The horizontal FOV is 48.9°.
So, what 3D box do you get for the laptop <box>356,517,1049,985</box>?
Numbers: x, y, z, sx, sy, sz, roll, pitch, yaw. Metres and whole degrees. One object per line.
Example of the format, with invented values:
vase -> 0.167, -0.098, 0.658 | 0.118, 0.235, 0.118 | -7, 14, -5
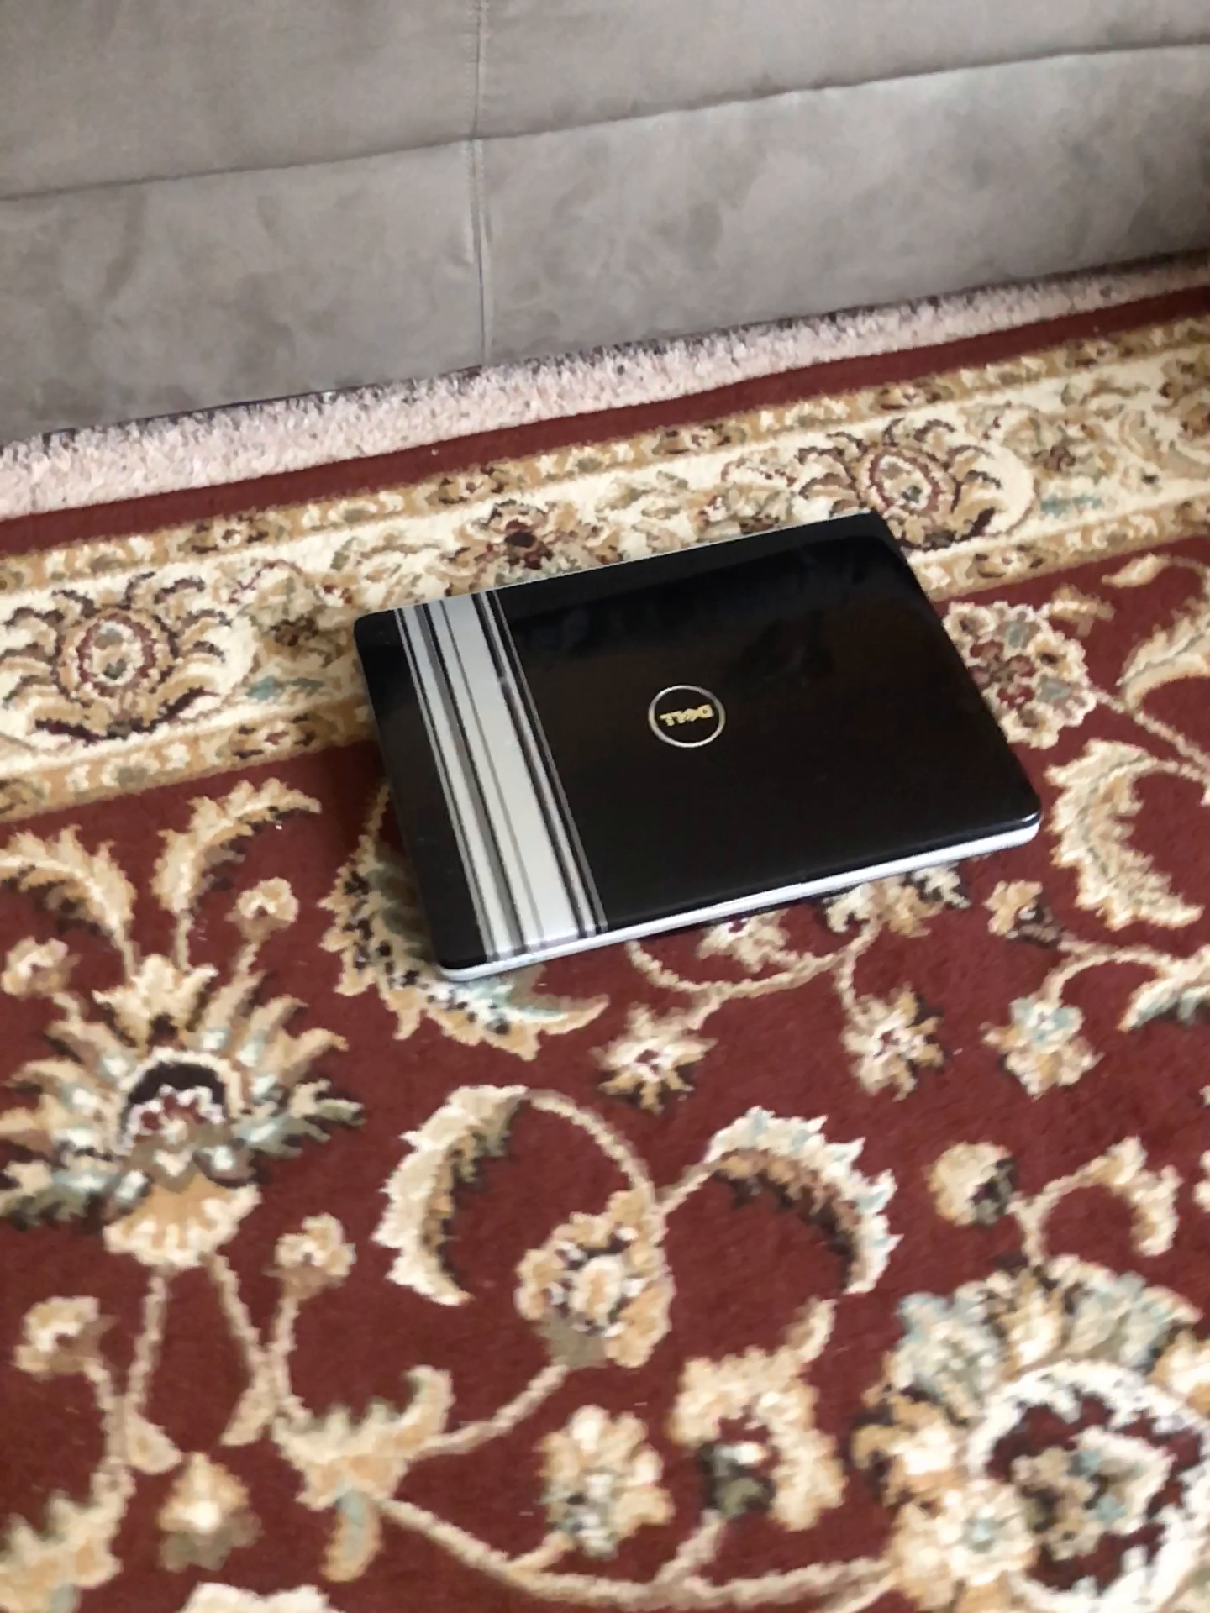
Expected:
laptop -> 0.050, -0.048, 0.792 | 0.351, 0.015, 0.242 | -13, 60, -10
